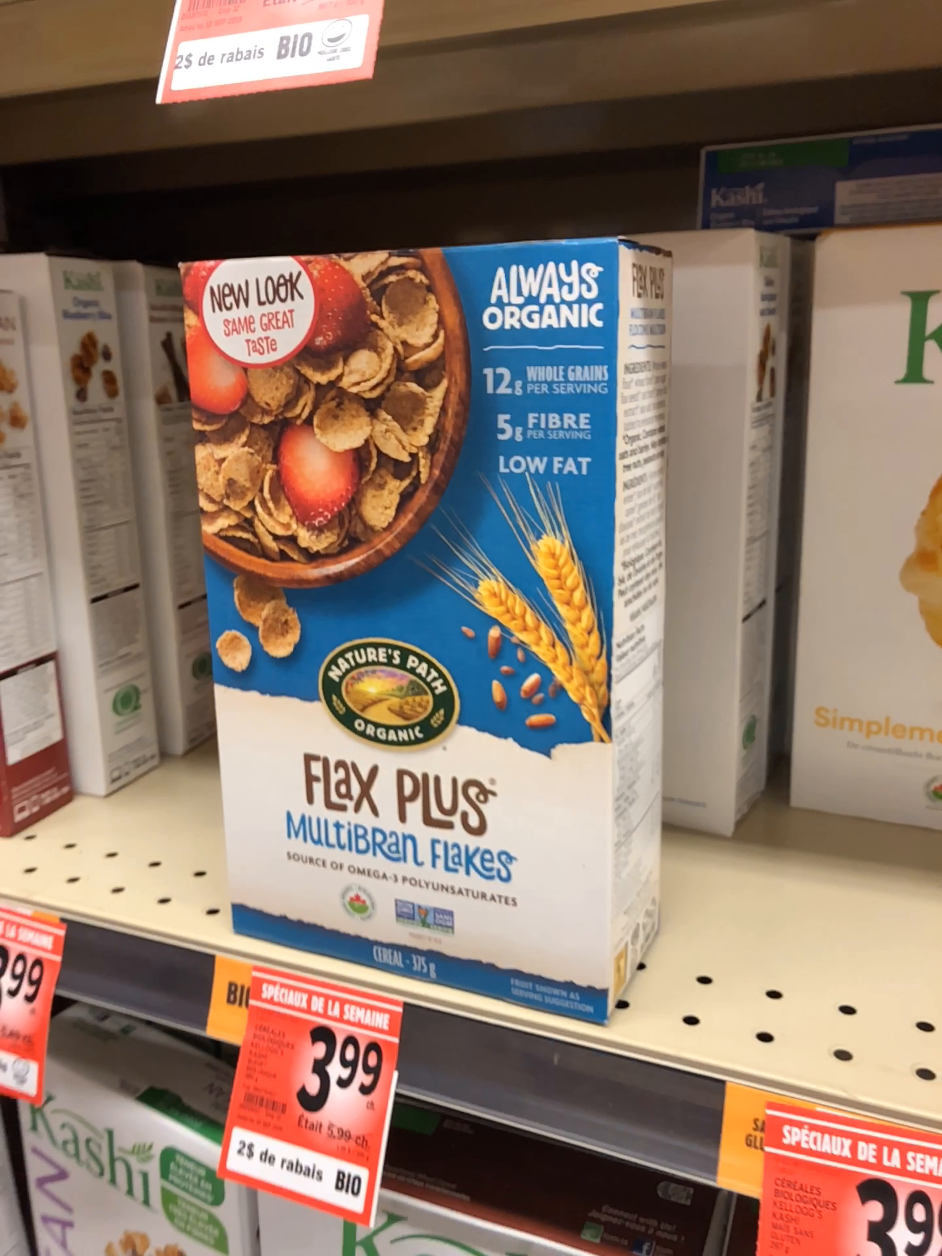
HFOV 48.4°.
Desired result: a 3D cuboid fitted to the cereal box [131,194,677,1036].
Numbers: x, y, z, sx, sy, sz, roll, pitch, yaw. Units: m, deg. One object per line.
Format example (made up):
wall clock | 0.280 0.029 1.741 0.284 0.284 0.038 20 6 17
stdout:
cereal box | -0.019 -0.007 0.388 0.170 0.269 0.070 6 17 24
